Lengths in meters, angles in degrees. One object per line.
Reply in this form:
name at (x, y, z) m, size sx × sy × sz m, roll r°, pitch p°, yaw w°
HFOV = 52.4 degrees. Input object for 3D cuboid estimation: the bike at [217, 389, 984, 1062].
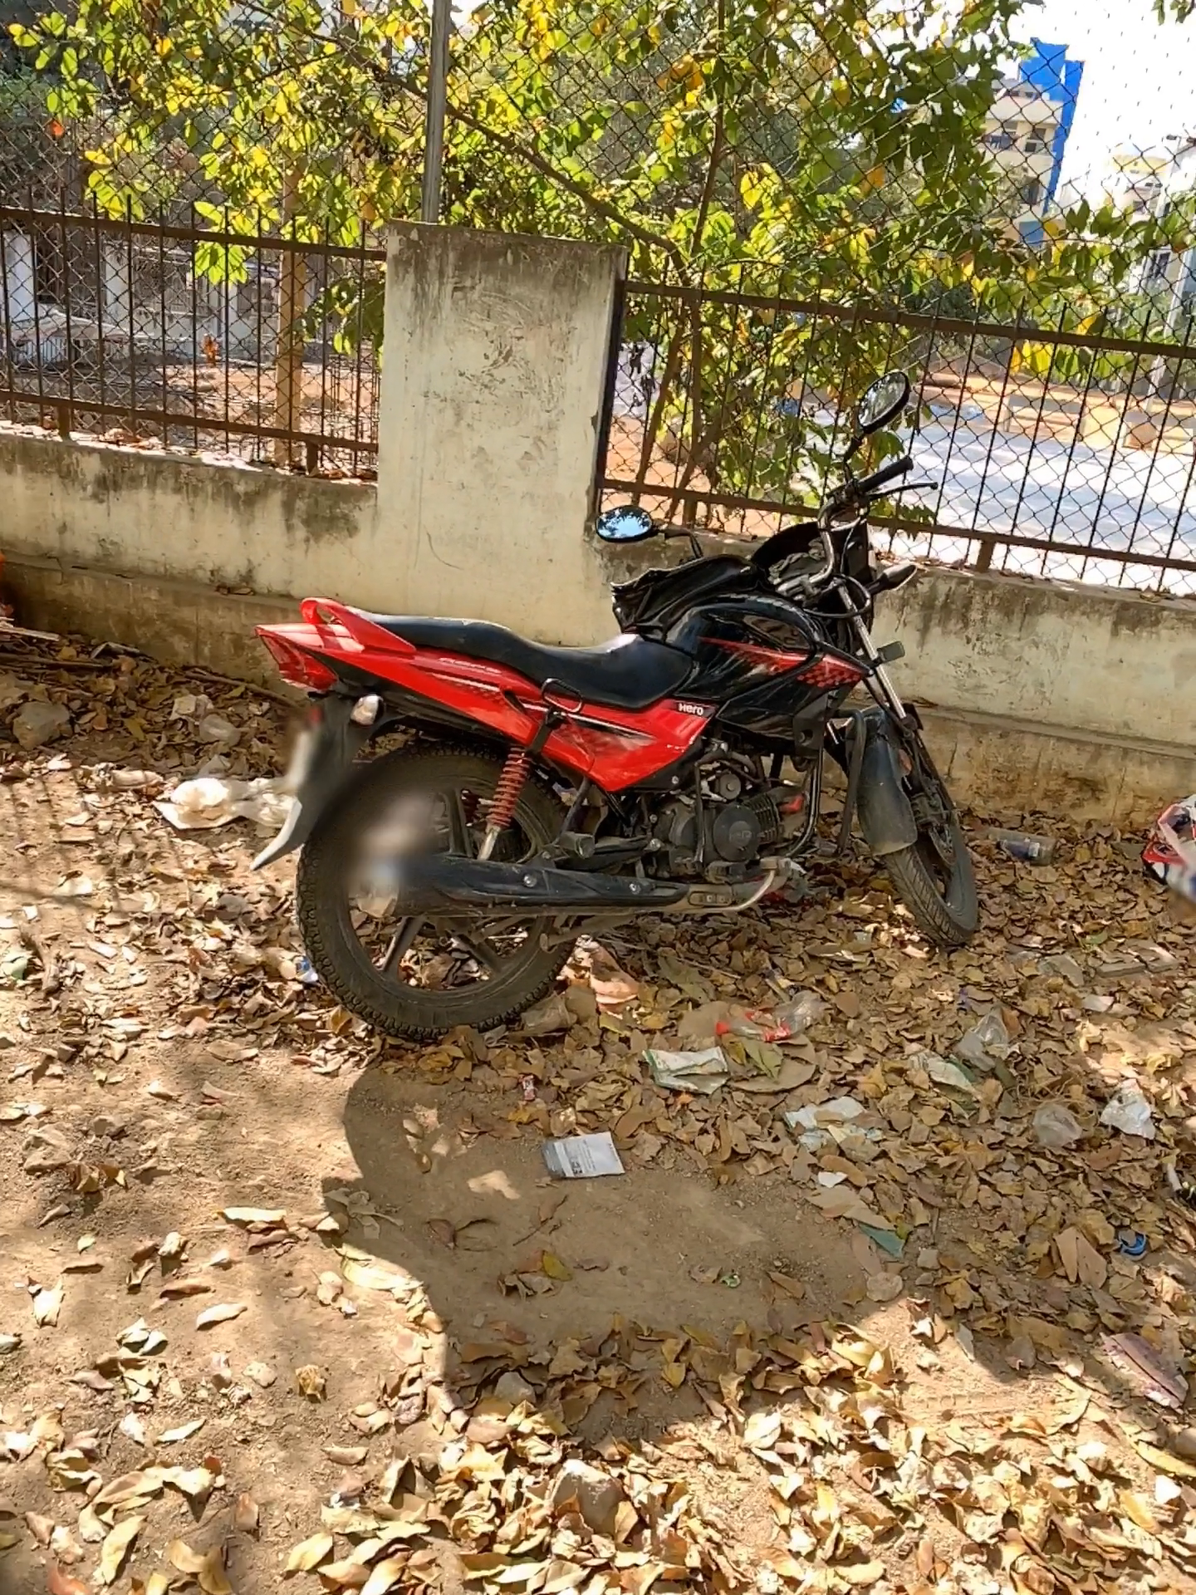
bike at (-0.063, -0.271, 2.643) m, size 1.291 × 1.068 × 0.825 m, roll -9°, pitch 26°, yaw -28°
